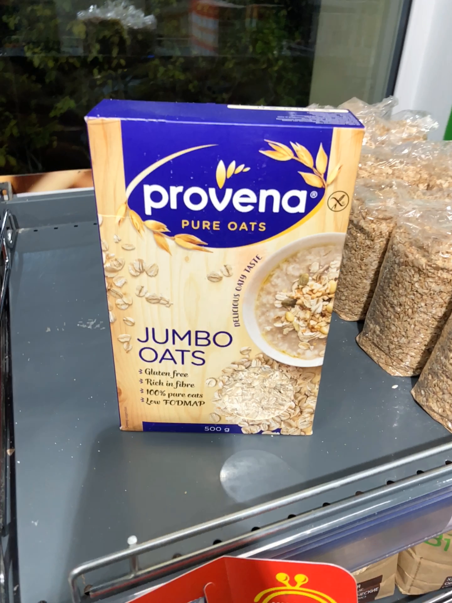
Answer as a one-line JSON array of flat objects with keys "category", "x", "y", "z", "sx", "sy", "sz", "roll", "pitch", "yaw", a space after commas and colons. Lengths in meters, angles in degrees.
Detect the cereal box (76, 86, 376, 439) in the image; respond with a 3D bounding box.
[{"category": "cereal box", "x": -0.004, "y": -0.012, "z": 0.330, "sx": 0.150, "sy": 0.229, "sz": 0.050, "roll": 2, "pitch": 32, "yaw": -1}]
